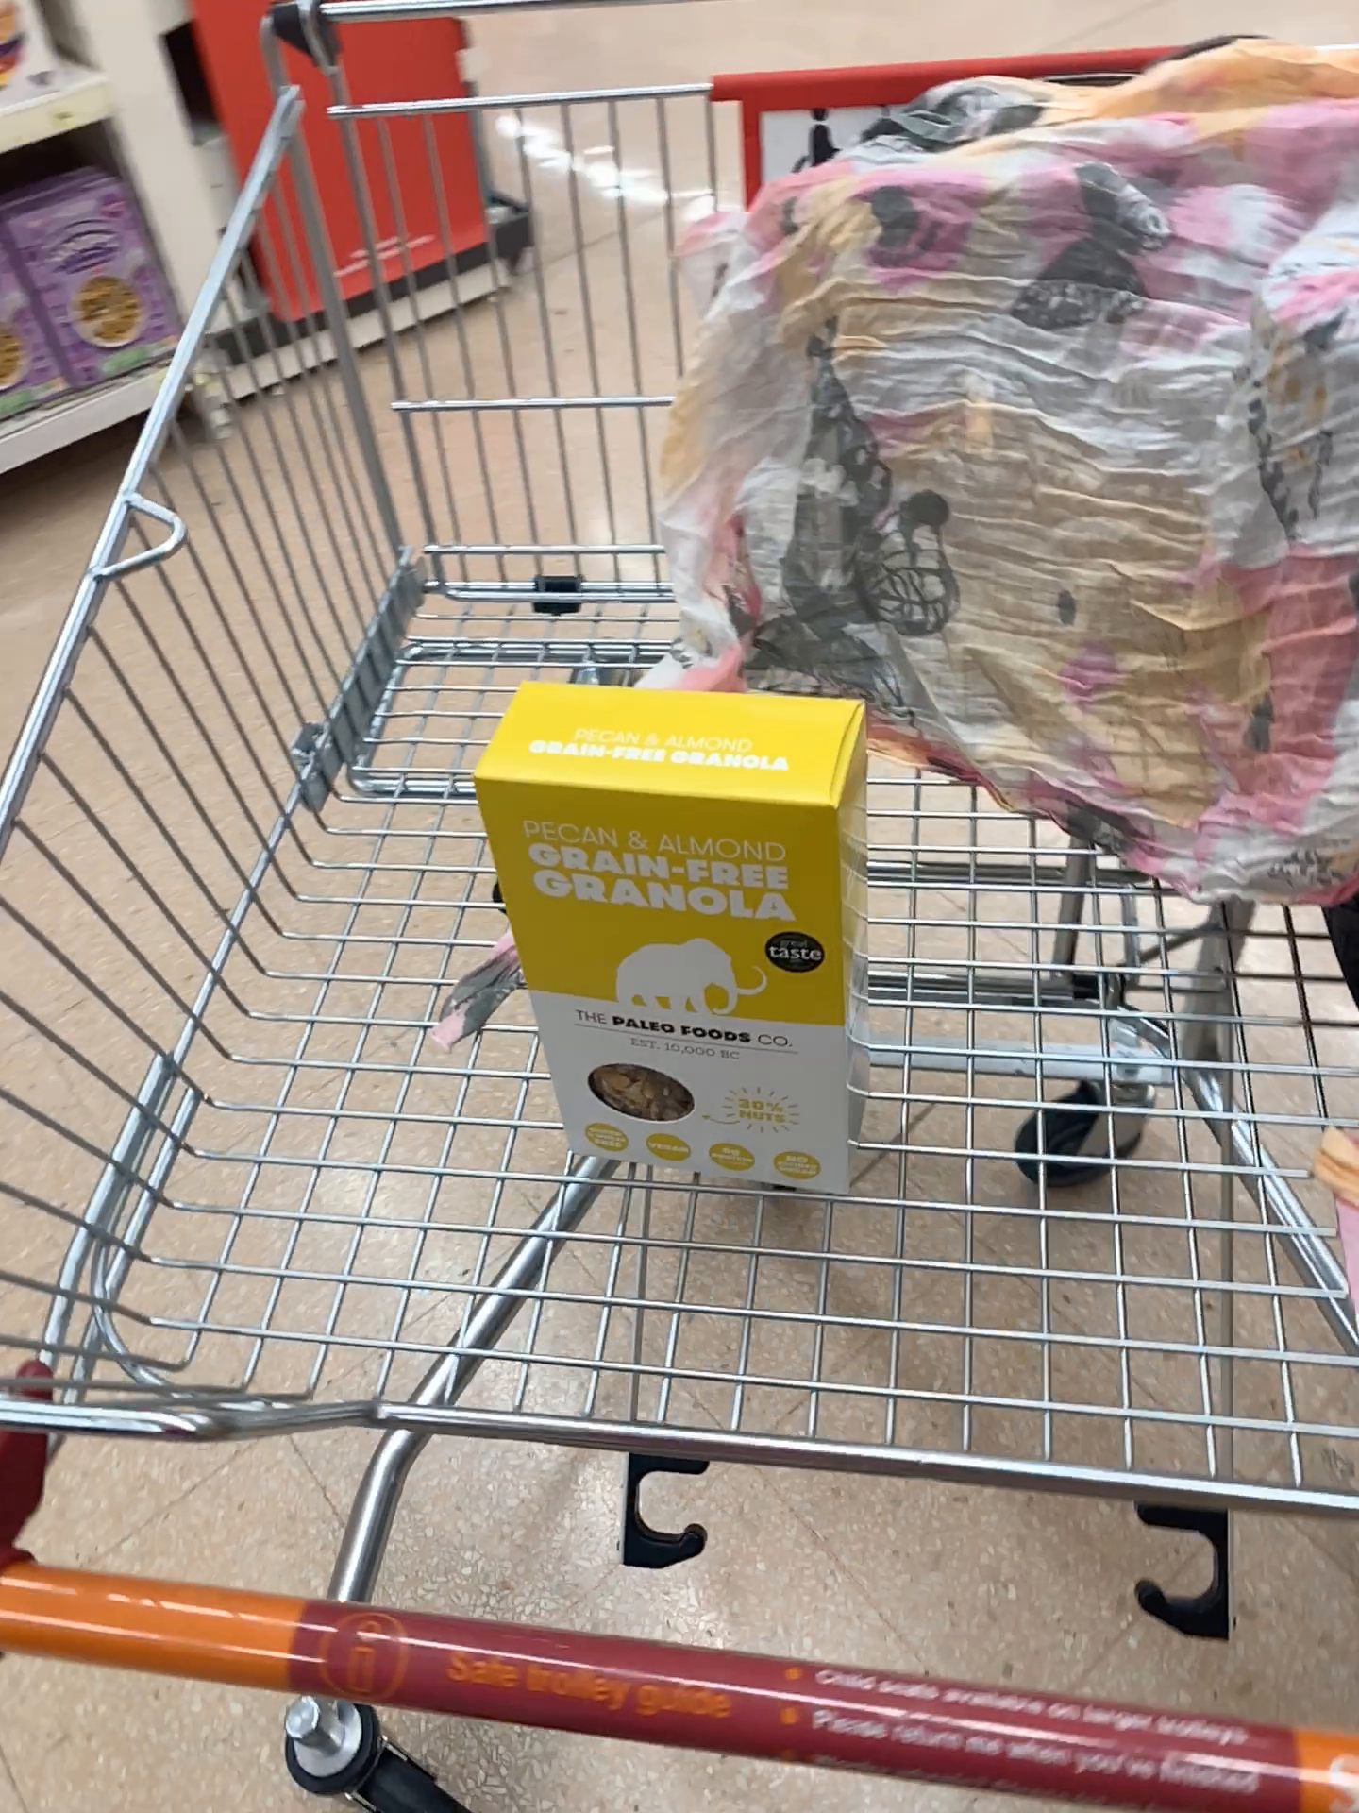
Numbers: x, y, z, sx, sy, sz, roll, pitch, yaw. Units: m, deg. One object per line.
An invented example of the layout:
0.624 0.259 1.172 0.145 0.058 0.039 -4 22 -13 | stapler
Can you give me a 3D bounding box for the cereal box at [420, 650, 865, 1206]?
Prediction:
-0.003 0.015 0.510 0.130 0.208 0.060 7 45 13 | cereal box
